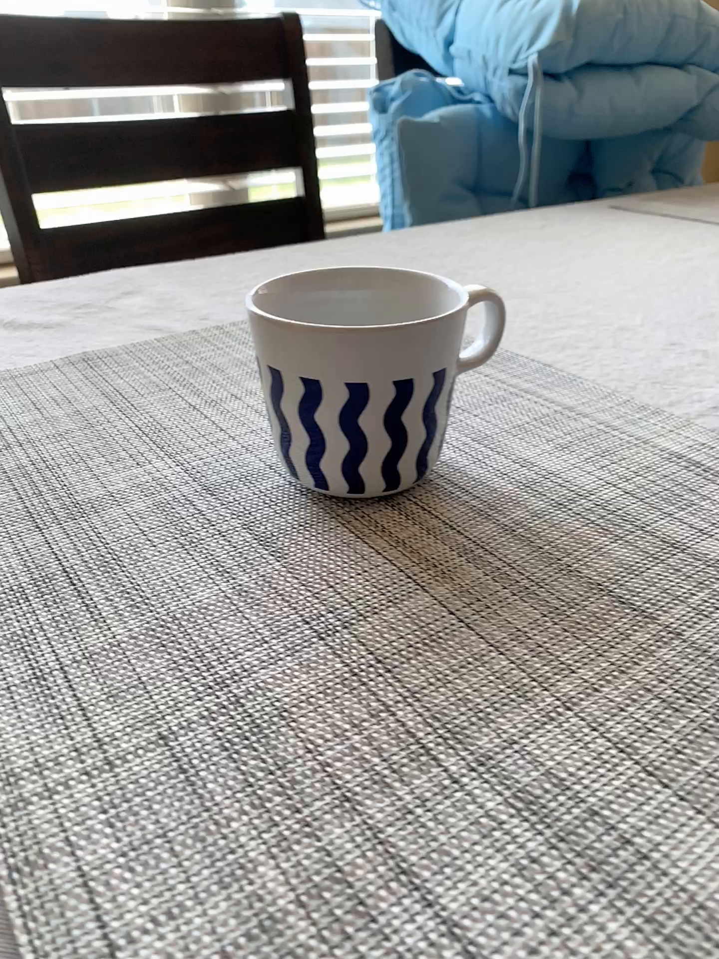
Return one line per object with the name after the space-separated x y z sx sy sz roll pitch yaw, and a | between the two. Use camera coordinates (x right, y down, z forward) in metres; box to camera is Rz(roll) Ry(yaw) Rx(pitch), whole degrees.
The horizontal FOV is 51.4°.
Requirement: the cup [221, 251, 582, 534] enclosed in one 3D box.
0.011 -0.041 0.299 0.112 0.072 0.087 -10 30 -16 | cup
